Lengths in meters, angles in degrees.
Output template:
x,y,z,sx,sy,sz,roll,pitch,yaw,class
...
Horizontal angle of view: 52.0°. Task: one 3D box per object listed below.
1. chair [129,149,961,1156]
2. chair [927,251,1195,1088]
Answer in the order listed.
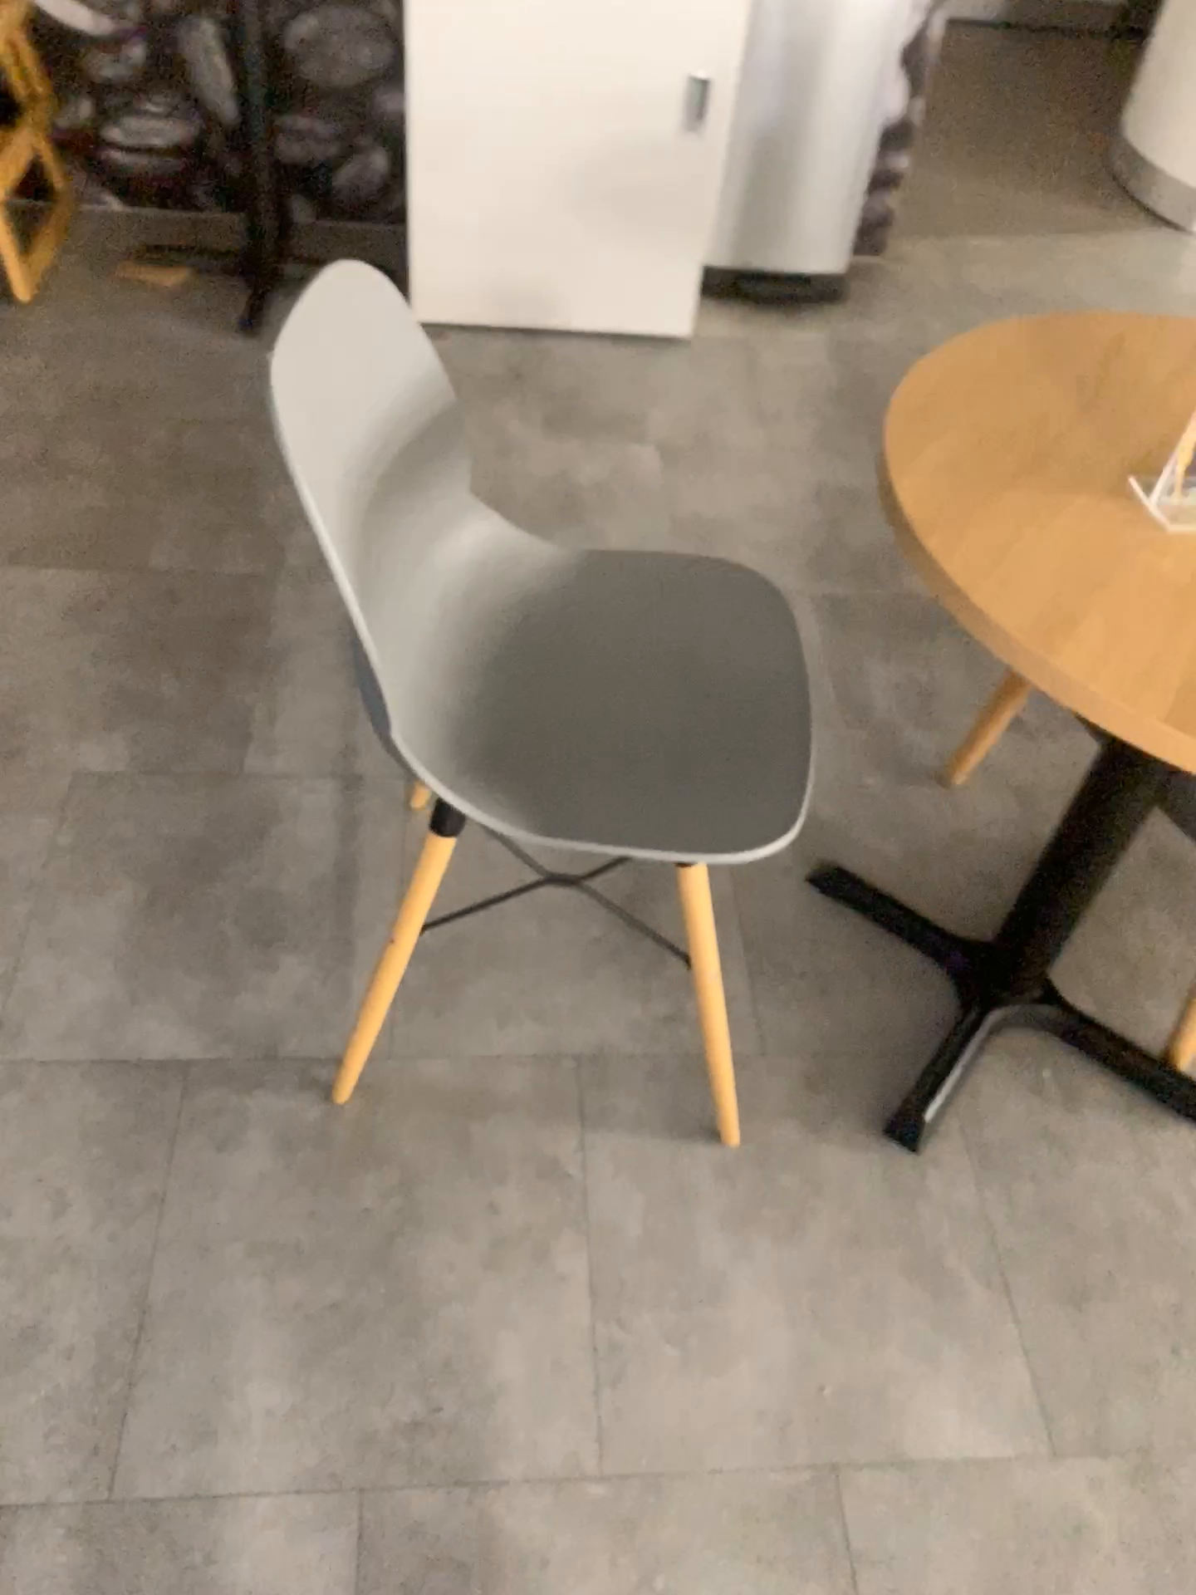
x,y,z,sx,sy,sz,roll,pitch,yaw,class
-0.046,-0.097,1.228,0.520,0.802,0.510,7,47,0,chair
0.857,-0.144,1.473,0.511,0.753,0.559,-10,49,-16,chair
